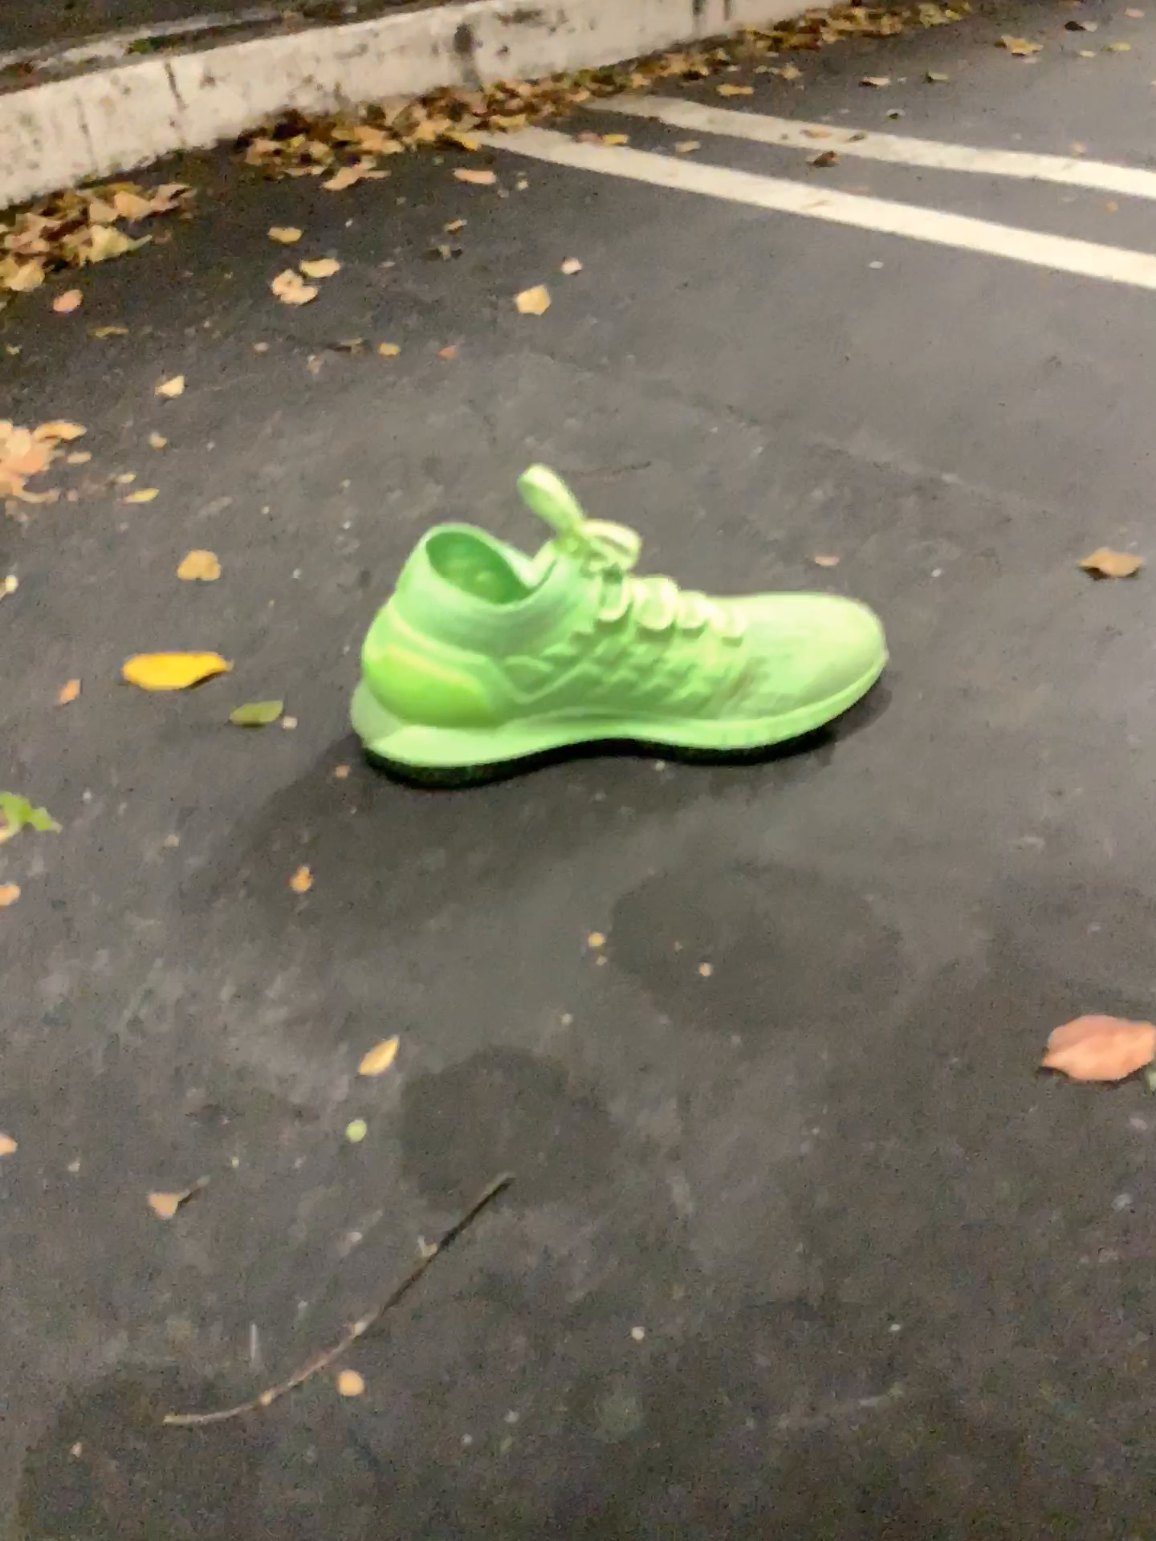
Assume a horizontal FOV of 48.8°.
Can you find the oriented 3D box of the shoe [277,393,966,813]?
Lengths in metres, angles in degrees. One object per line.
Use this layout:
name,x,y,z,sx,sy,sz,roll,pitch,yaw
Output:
shoe,0.022,-0.092,0.687,0.320,0.150,0.130,-6,37,-1
